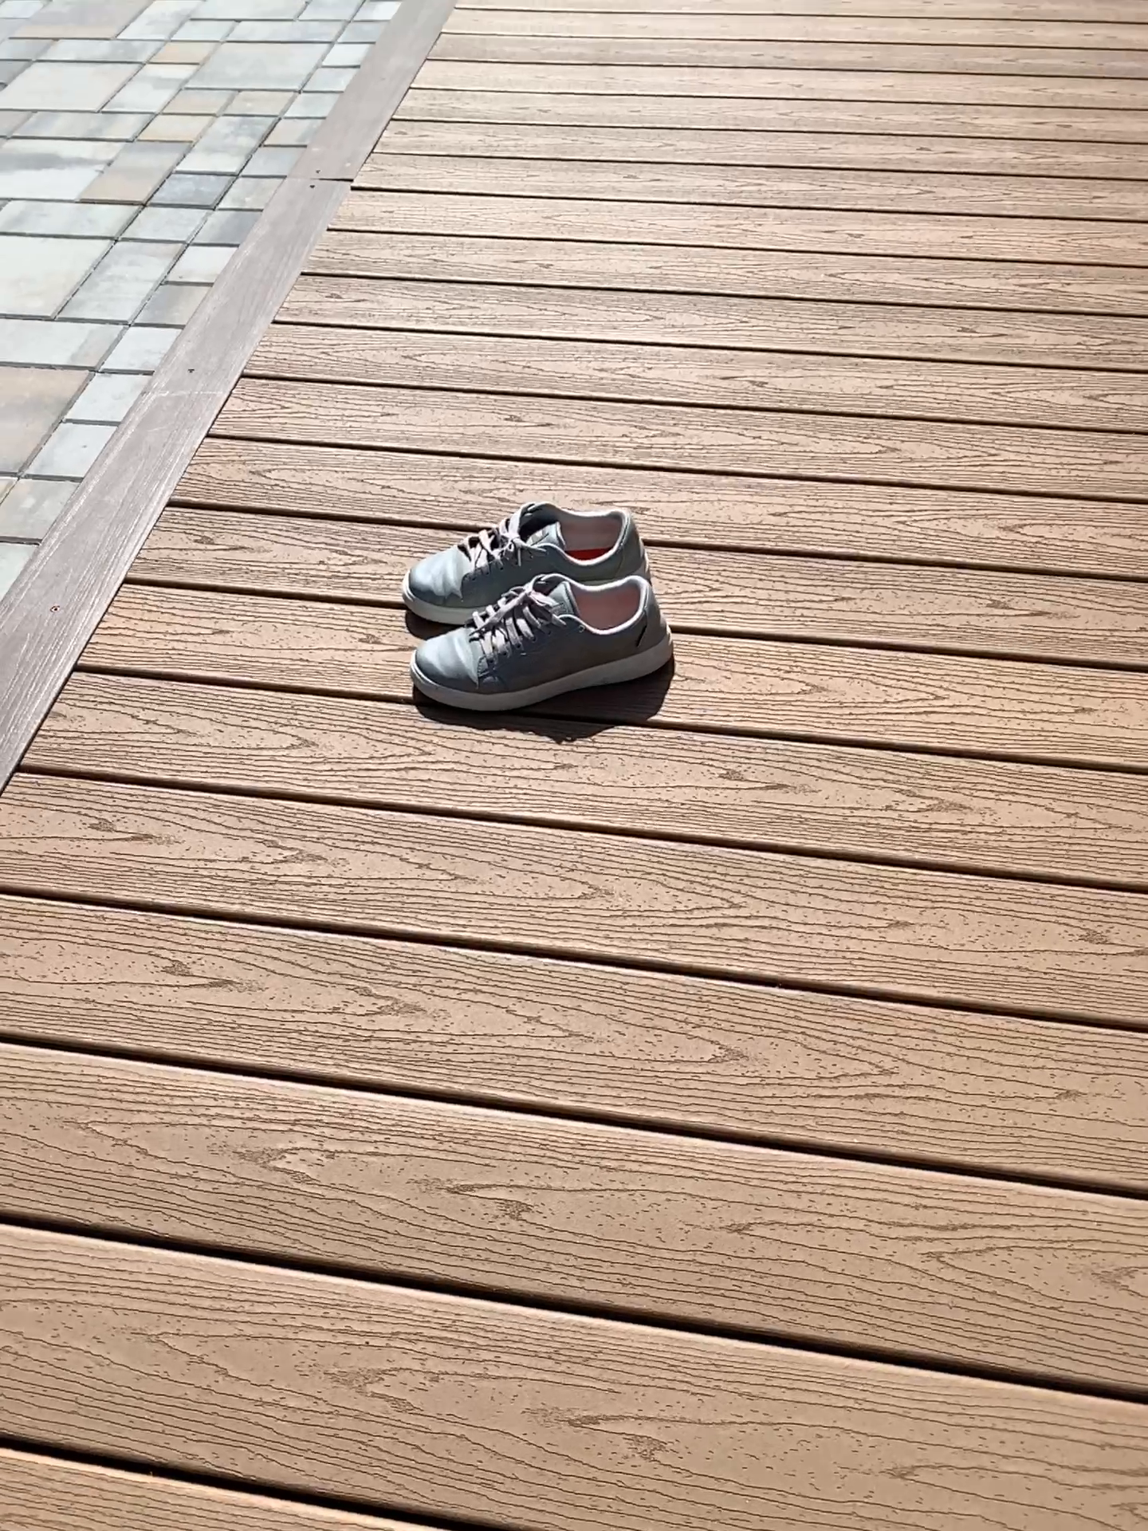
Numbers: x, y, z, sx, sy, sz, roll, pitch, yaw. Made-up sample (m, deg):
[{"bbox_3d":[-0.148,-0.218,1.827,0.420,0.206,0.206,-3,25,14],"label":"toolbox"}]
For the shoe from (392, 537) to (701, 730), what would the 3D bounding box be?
[{"bbox_3d":[-0.029,-0.136,1.202,0.290,0.100,0.121,-9,50,-6],"label":"shoe"}]

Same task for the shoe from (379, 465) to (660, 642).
[{"bbox_3d":[-0.059,-0.229,1.262,0.280,0.100,0.121,-8,50,-5],"label":"shoe"}]
